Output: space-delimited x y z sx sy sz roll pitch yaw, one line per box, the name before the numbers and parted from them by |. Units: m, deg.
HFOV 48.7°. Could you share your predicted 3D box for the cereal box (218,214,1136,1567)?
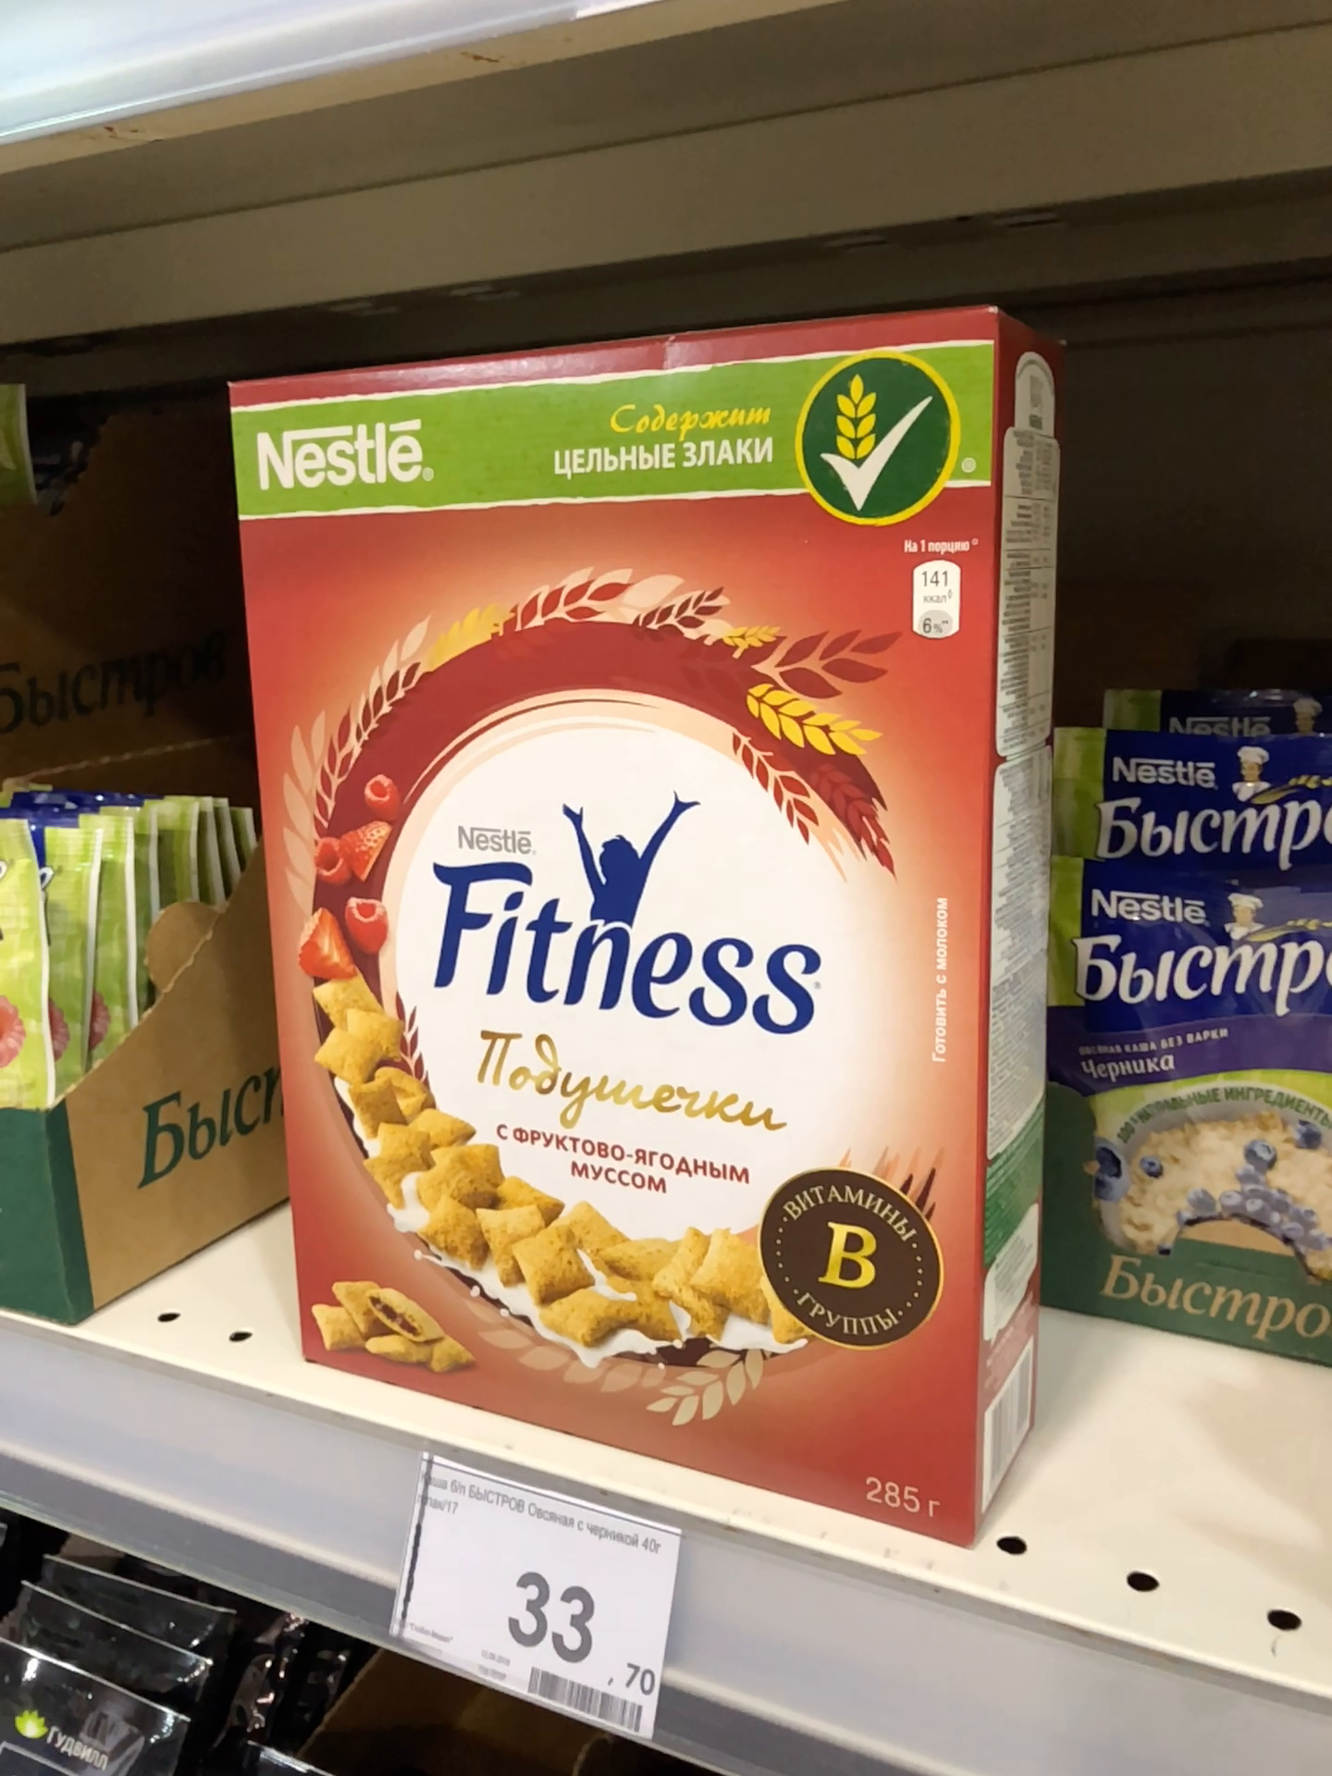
cereal box | 0.000 -0.001 0.318 0.180 0.239 0.050 4 13 27
